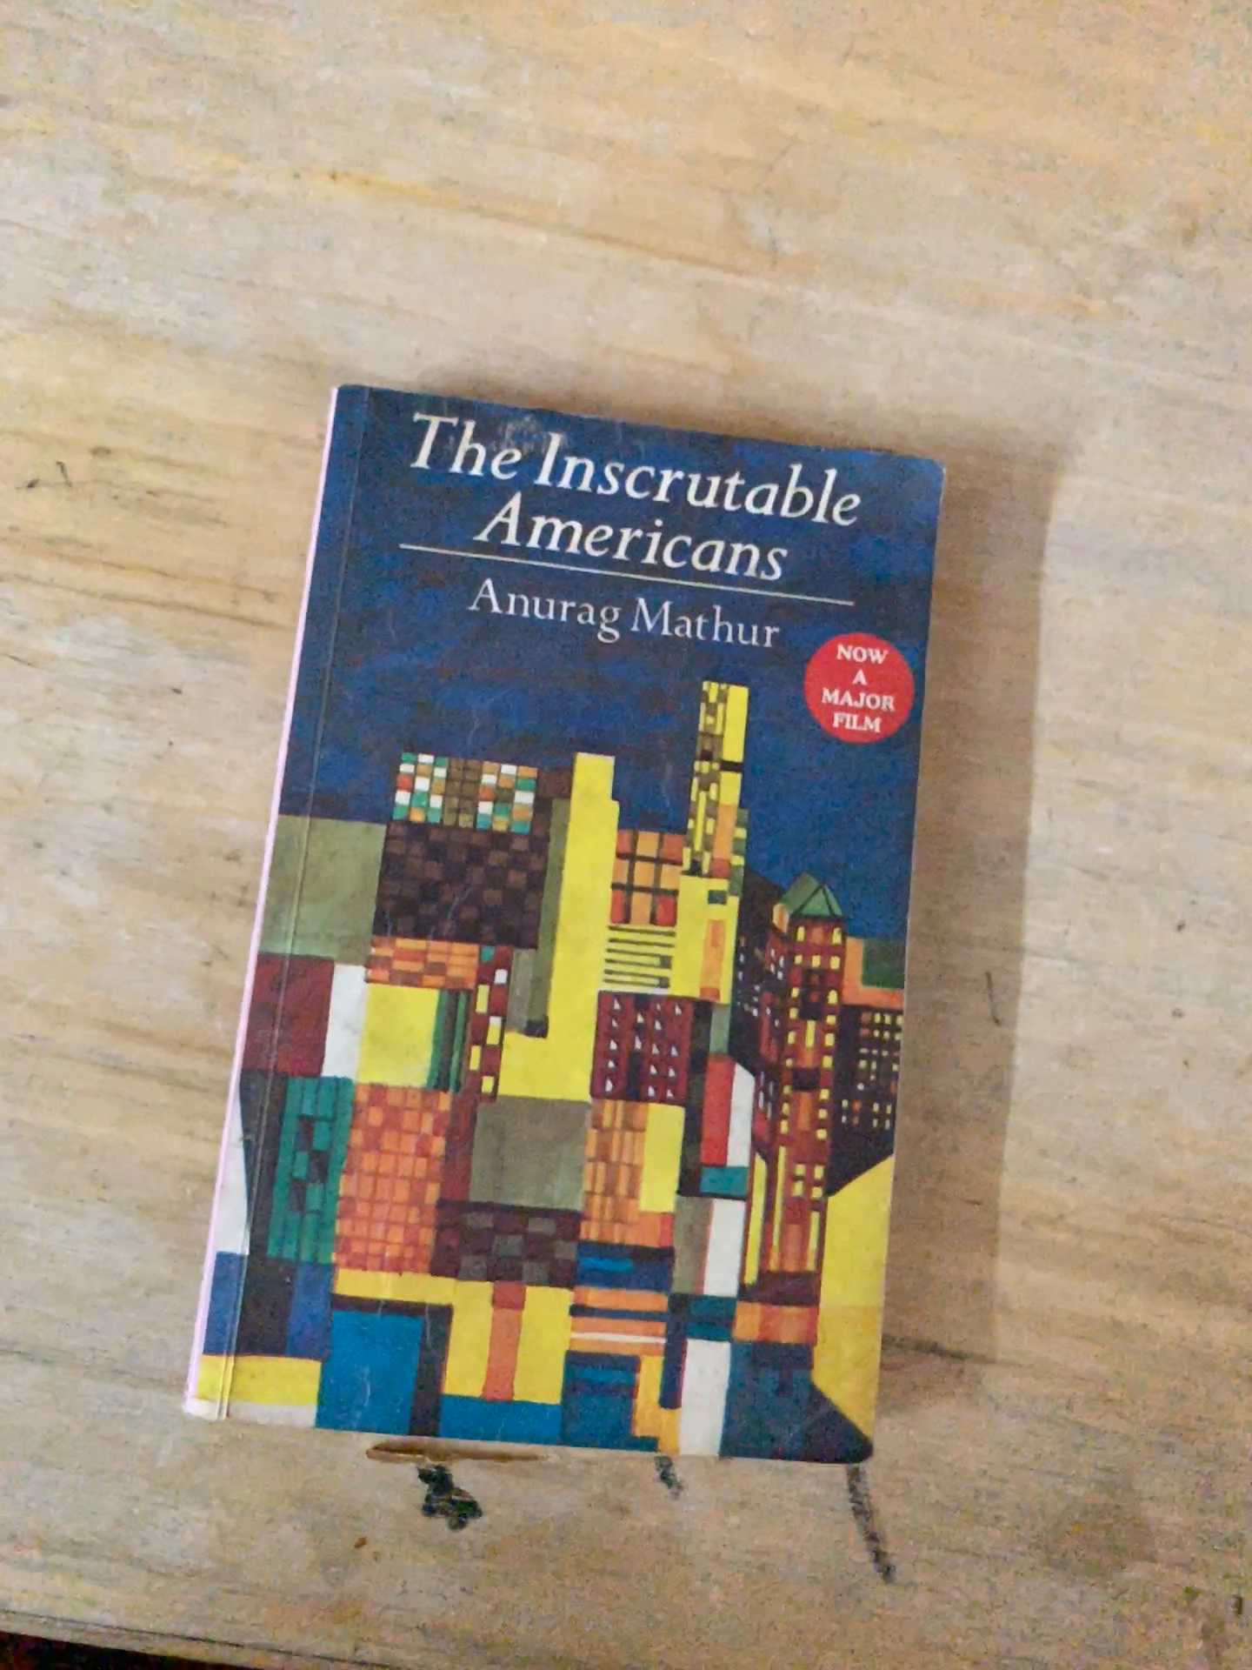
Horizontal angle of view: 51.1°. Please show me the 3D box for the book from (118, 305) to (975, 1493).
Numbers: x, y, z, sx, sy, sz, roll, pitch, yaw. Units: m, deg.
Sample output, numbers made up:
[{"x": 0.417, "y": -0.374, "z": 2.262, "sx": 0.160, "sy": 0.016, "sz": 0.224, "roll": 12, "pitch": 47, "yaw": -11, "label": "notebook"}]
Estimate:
[{"x": -0.008, "y": 0.009, "z": 0.225, "sx": 0.120, "sy": 0.030, "sz": 0.180, "roll": 6, "pitch": 81, "yaw": -6, "label": "book"}]
